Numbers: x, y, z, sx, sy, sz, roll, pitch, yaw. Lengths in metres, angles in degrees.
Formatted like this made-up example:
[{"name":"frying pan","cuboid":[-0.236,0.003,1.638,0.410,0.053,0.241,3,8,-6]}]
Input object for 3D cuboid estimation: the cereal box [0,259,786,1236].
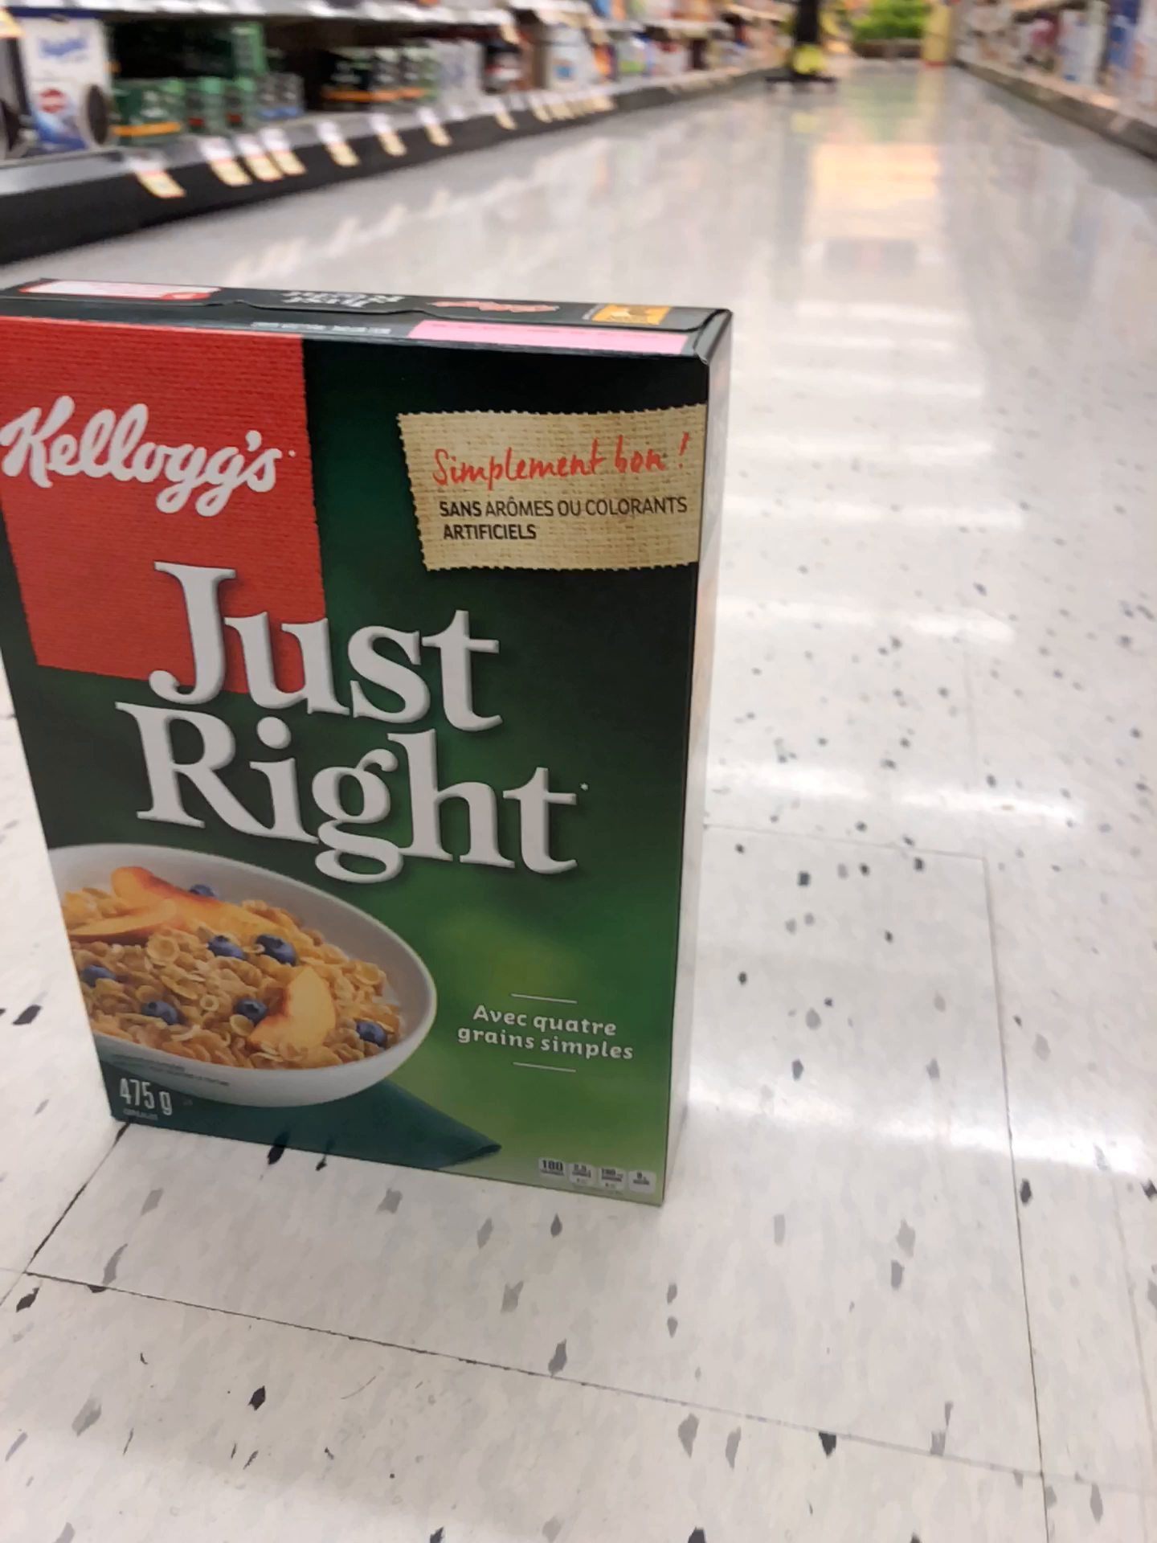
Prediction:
[{"name":"cereal box","cuboid":[-0.059,0.003,0.370,0.210,0.268,0.050,7,31,11]}]
